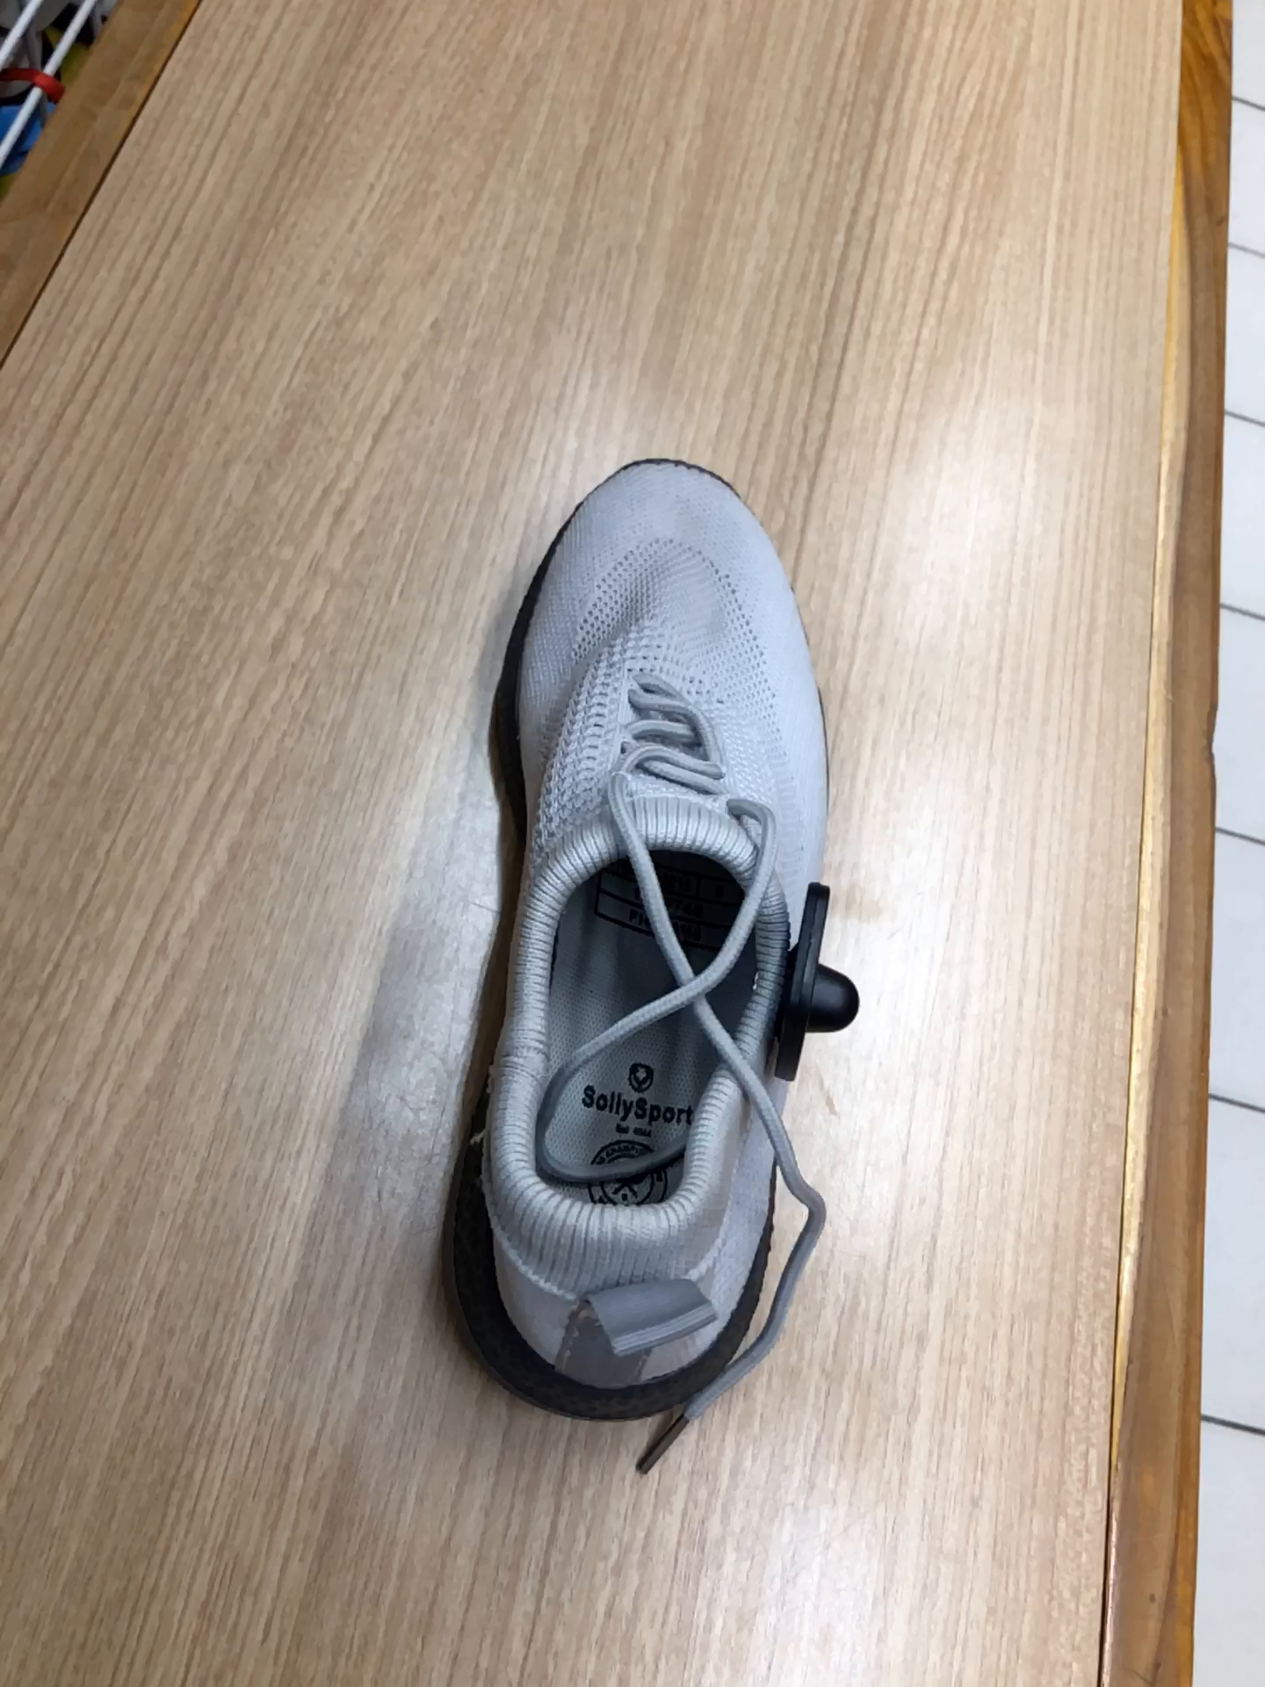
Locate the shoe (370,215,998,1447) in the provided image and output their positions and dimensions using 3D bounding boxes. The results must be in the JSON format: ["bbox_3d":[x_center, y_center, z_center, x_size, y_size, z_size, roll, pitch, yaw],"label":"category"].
[{"bbox_3d":[0.015,-0.001,0.348,0.106,0.122,0.265,11,65,-7],"label":"shoe"}]
